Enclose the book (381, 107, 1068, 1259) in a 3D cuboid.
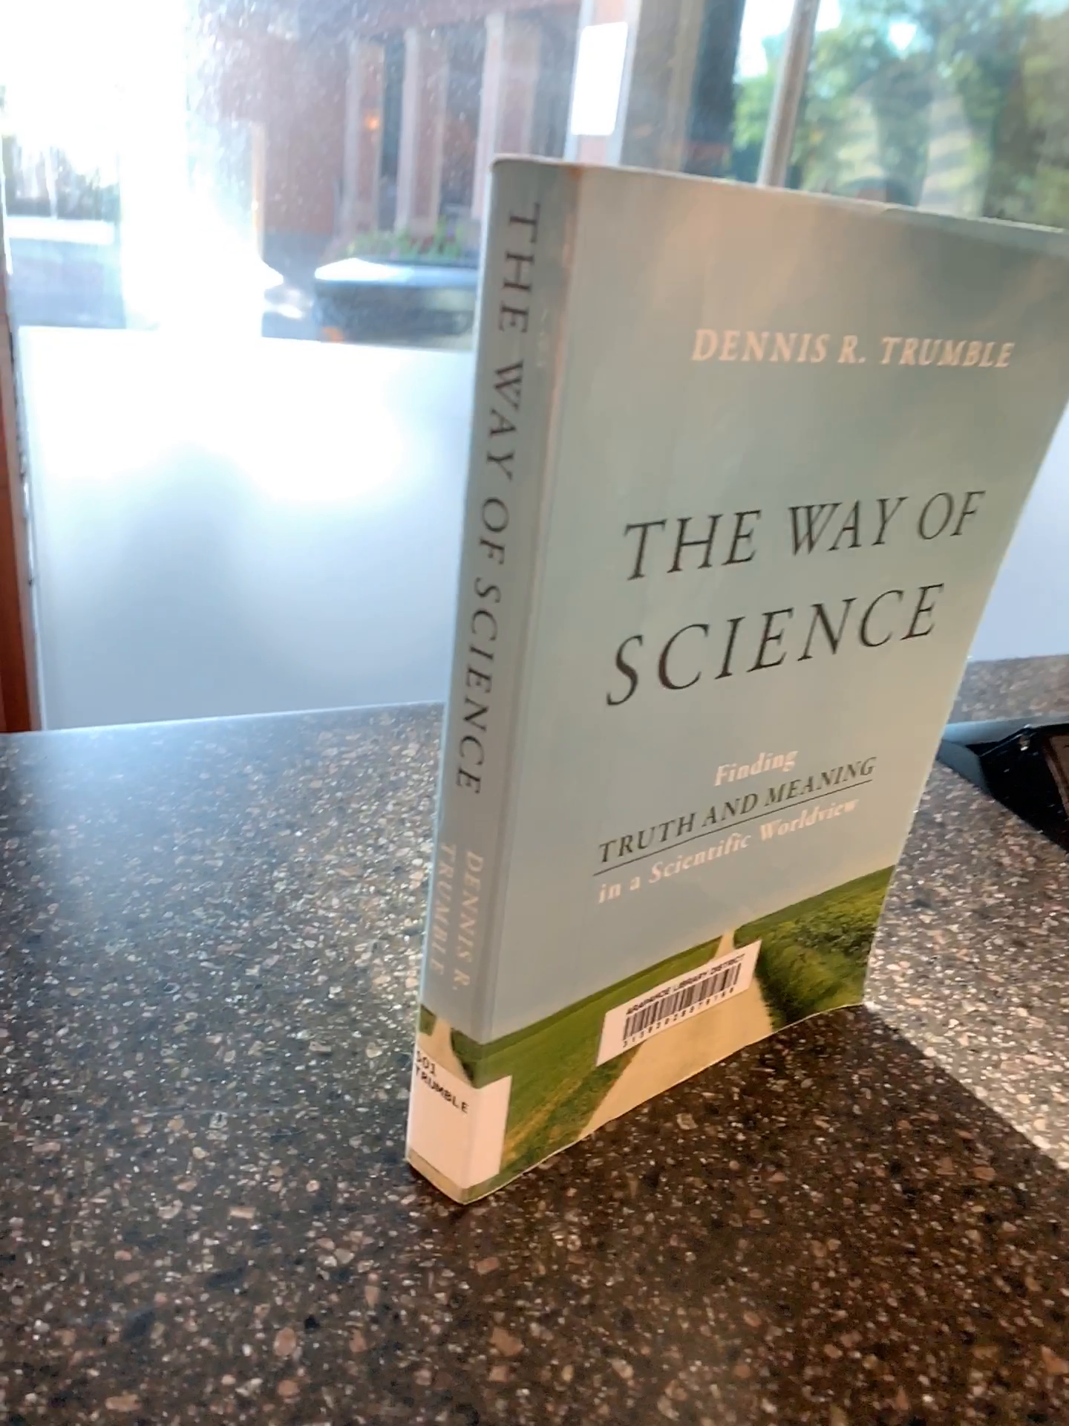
[{"bbox_3d":[0.053,-0.004,0.255,0.167,0.219,0.040,-13,32,-36],"label":"book"}]
